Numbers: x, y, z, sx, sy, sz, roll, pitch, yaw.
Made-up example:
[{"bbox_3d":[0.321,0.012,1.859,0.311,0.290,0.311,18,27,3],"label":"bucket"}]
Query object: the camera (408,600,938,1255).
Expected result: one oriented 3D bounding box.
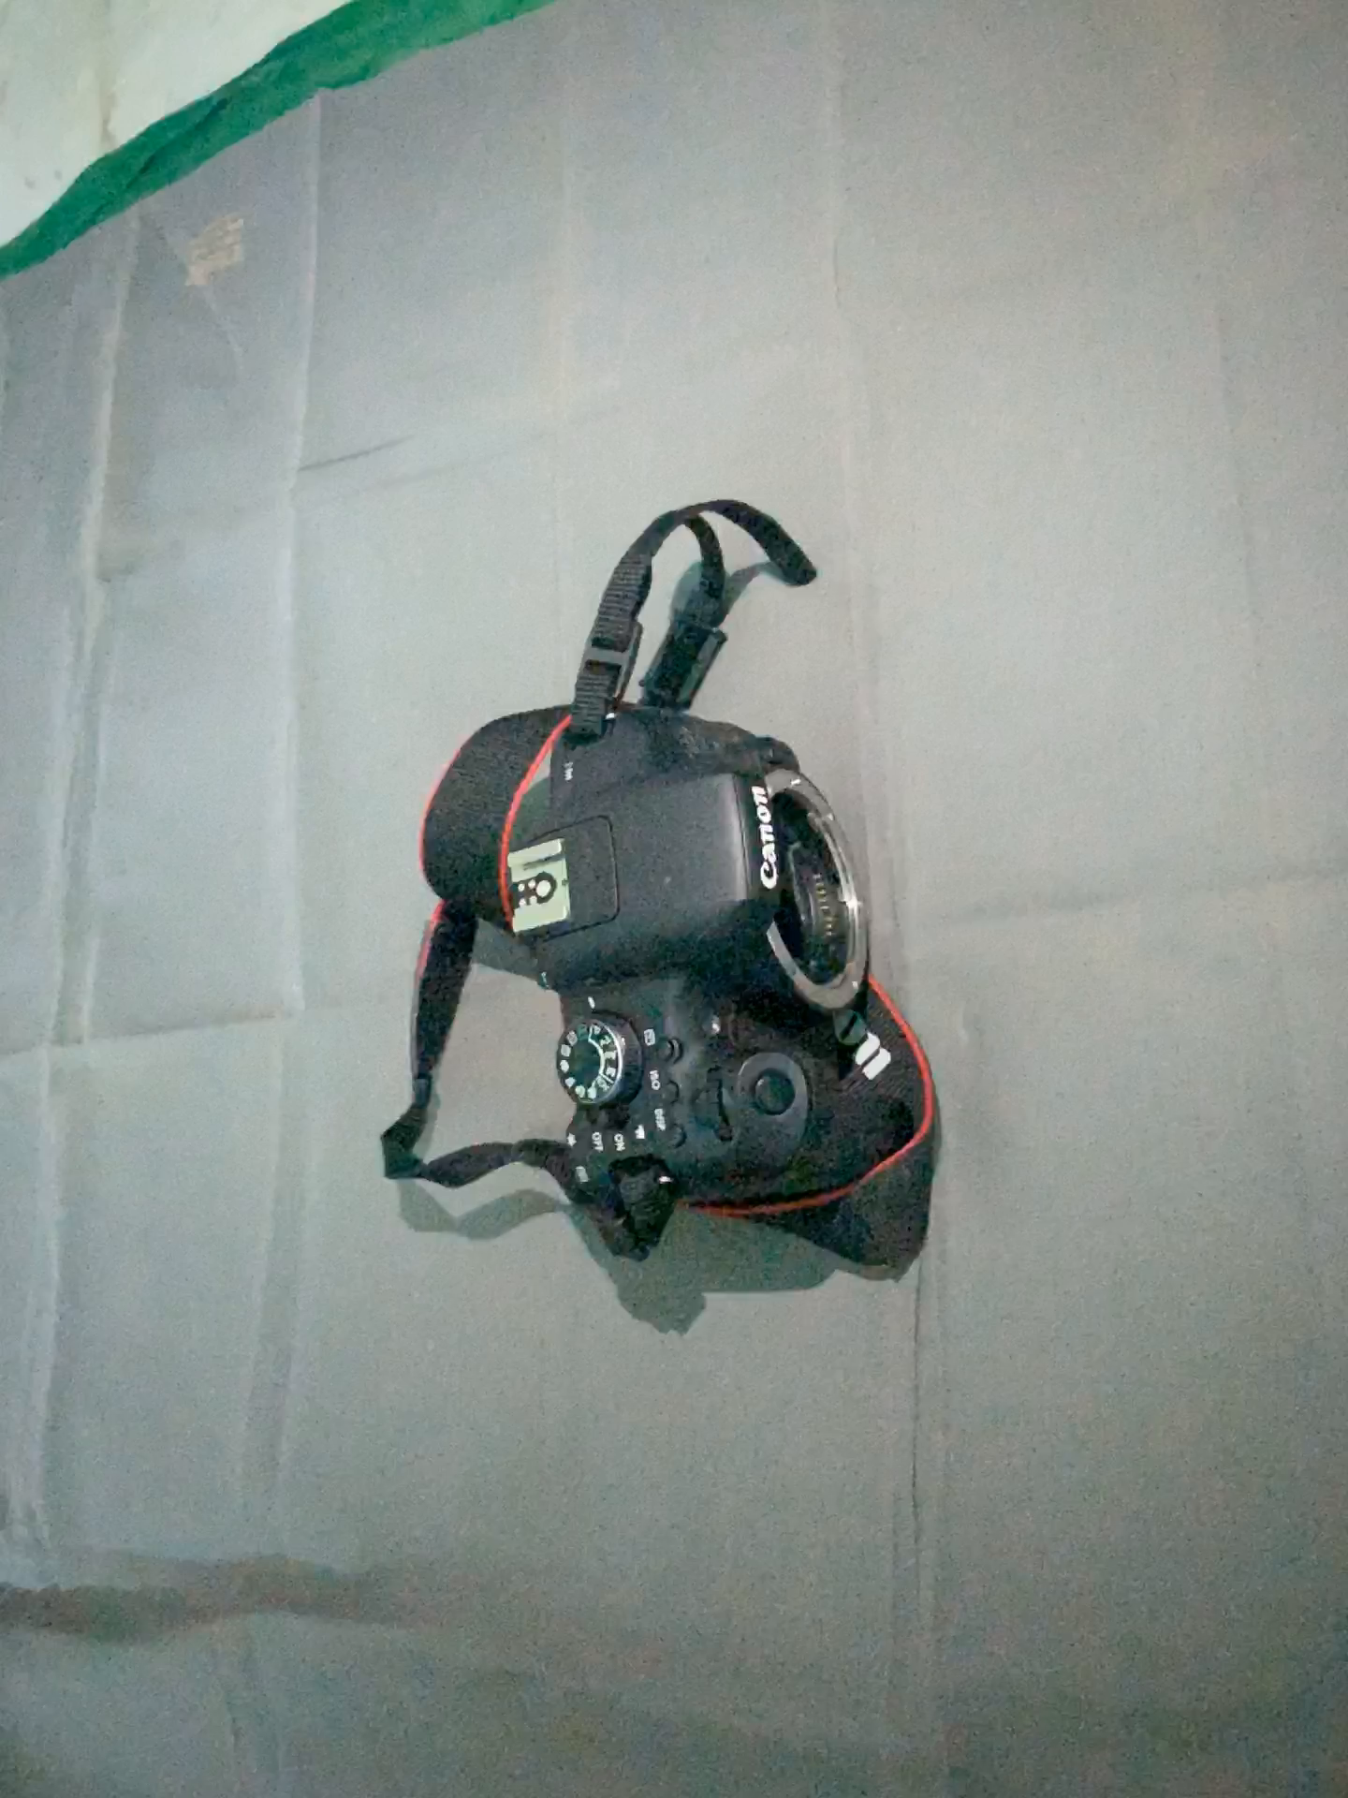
[{"bbox_3d":[0.000,0.016,0.346,0.090,0.088,0.132,-13,71,25],"label":"camera"}]
